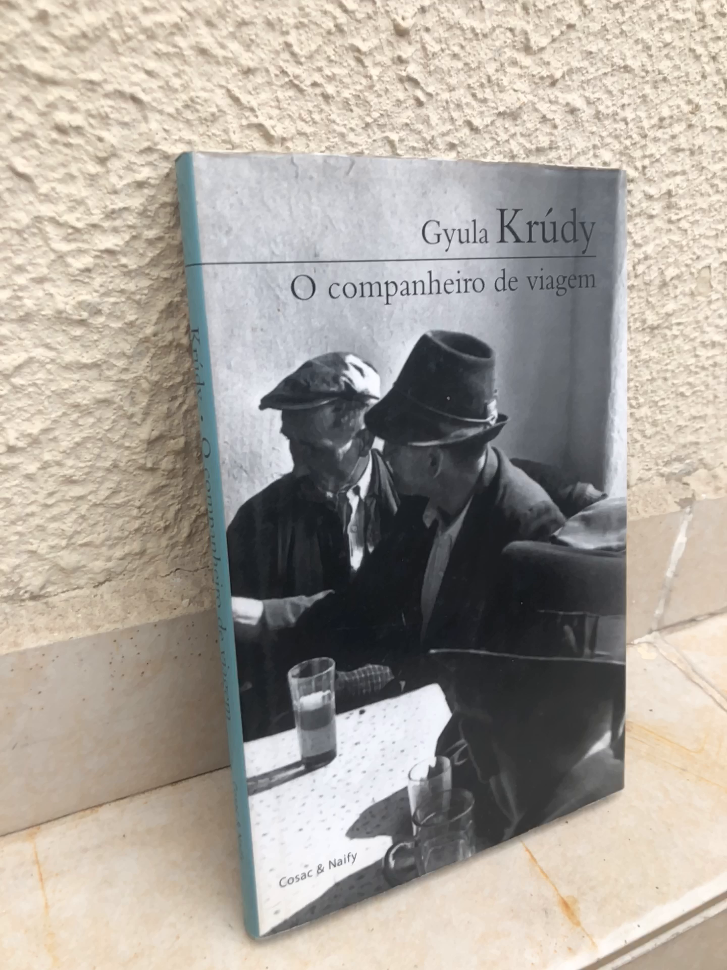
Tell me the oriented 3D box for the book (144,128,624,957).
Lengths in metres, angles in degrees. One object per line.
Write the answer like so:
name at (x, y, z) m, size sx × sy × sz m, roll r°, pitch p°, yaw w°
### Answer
book at (0.017, 0.013, 0.234) m, size 0.137 × 0.205 × 0.019 m, roll -8°, pitch 12°, yaw -28°
